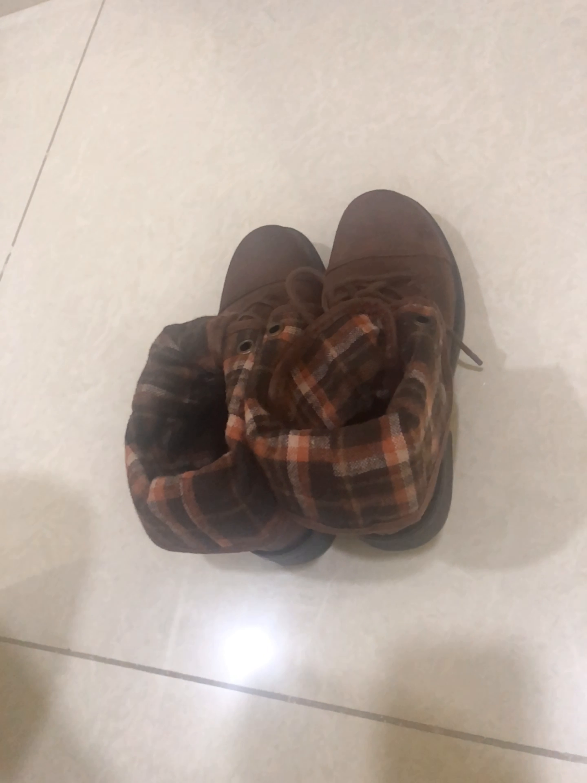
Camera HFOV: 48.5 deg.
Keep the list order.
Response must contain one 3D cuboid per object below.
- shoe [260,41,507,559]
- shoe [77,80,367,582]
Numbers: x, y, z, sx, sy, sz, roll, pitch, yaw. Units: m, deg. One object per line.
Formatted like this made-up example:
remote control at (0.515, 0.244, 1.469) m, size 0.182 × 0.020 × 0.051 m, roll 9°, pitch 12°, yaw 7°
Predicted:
shoe at (0.054, -0.050, 0.403) m, size 0.100 × 0.140 × 0.270 m, roll -10°, pitch 63°, yaw 18°
shoe at (-0.041, -0.035, 0.436) m, size 0.110 × 0.150 × 0.280 m, roll -14°, pitch 61°, yaw 16°
